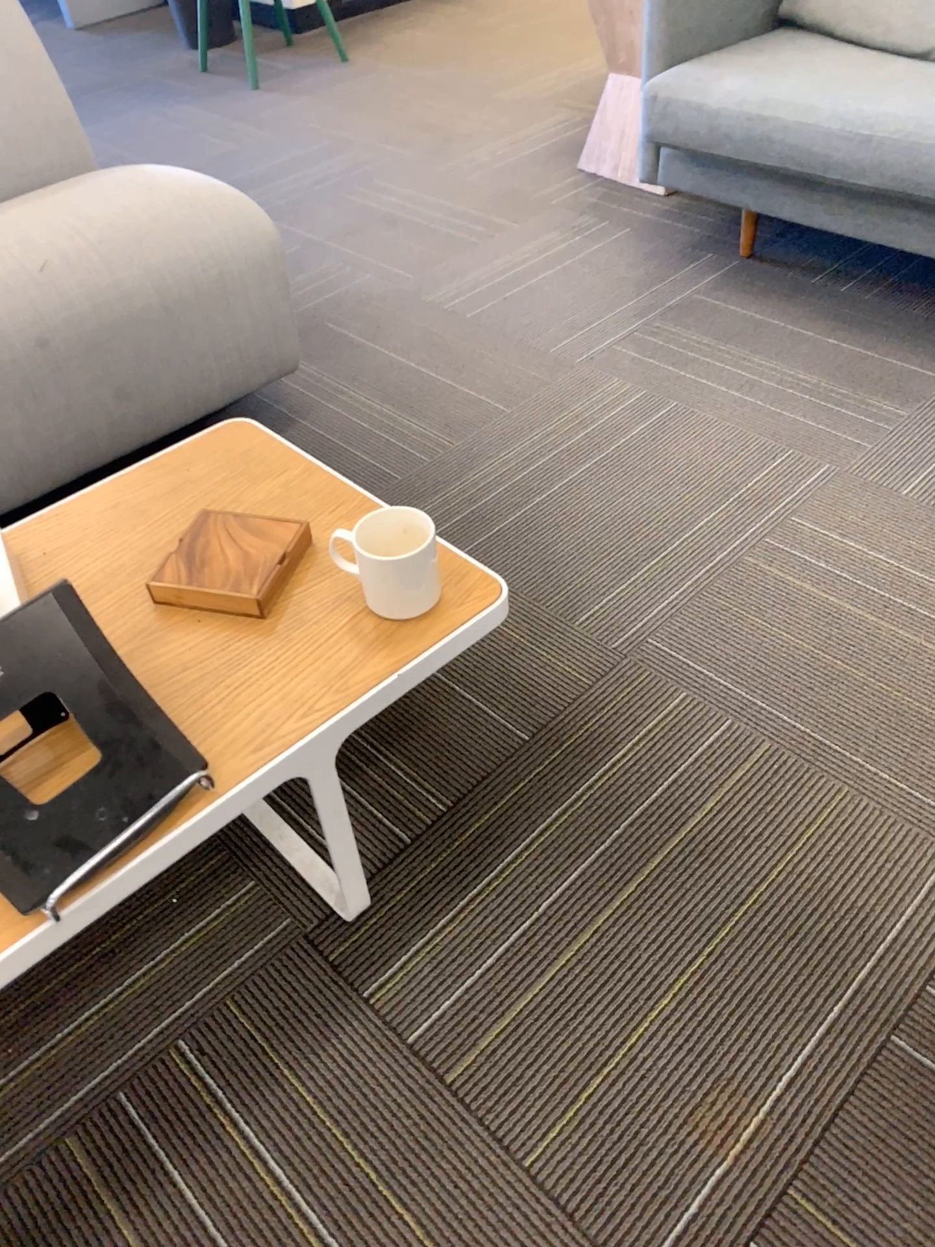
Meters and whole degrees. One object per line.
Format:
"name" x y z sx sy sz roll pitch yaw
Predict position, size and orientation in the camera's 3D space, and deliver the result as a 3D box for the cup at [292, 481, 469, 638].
"cup" -0.084 -0.066 0.953 0.140 0.089 0.090 17 49 22
